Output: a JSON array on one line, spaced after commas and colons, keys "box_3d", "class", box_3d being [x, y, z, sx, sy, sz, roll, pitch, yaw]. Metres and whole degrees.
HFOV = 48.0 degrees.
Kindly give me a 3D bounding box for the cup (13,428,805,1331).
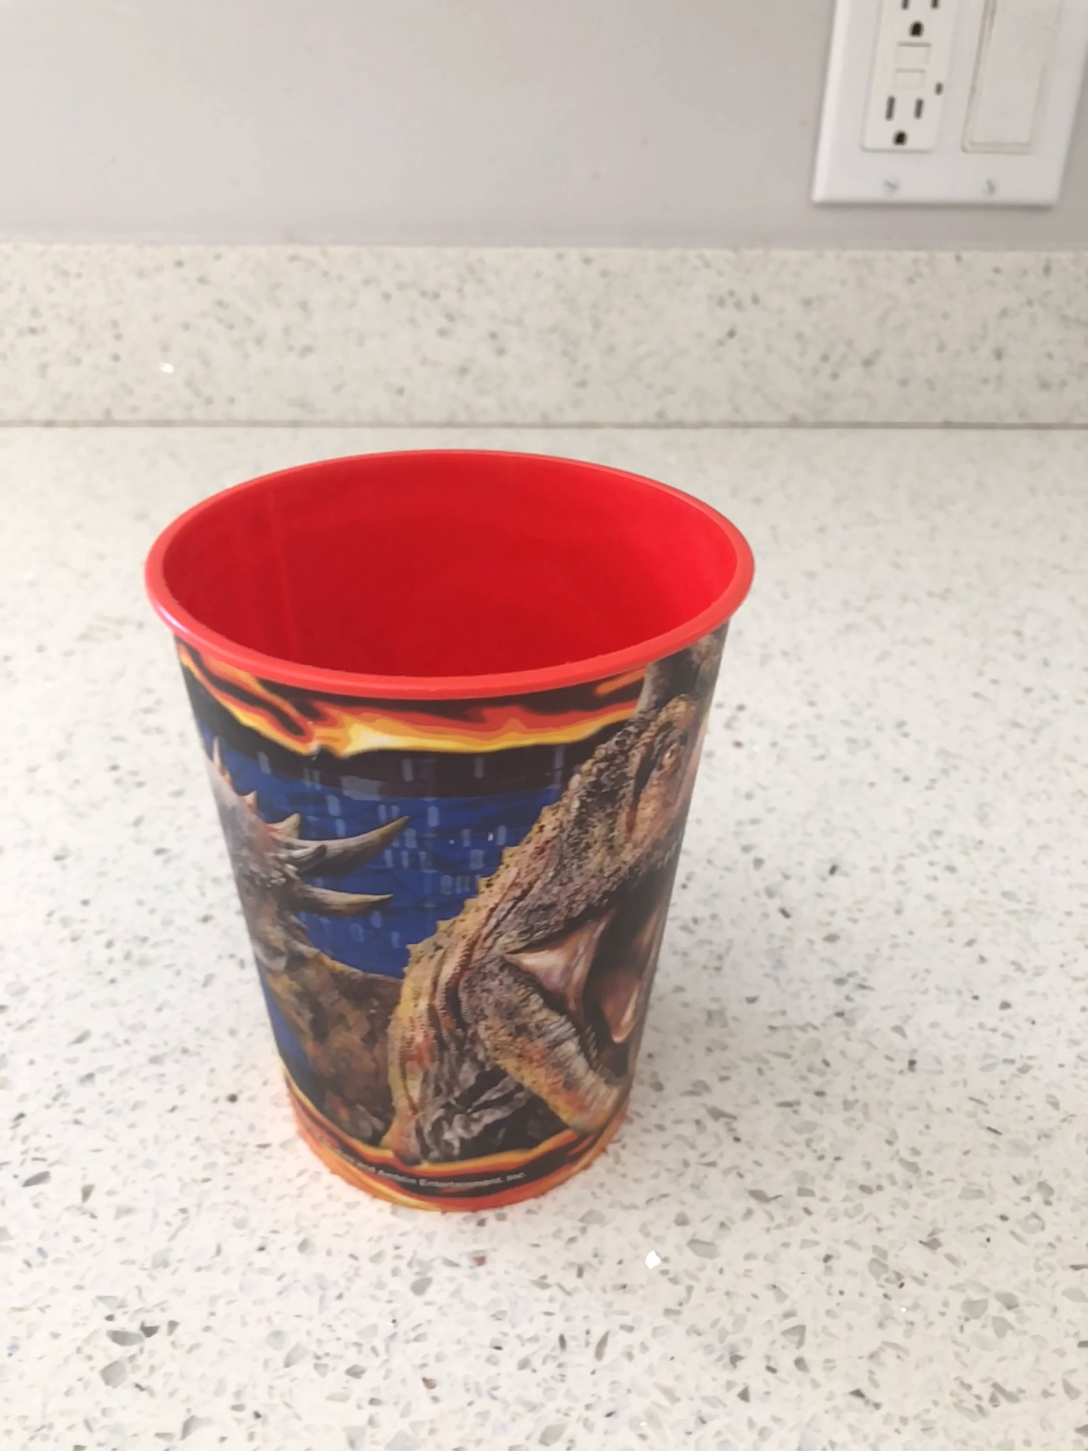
[{"box_3d": [-0.012, 0.020, 0.203, 0.090, 0.110, 0.090, 1, 31, 0], "class": "cup"}]
